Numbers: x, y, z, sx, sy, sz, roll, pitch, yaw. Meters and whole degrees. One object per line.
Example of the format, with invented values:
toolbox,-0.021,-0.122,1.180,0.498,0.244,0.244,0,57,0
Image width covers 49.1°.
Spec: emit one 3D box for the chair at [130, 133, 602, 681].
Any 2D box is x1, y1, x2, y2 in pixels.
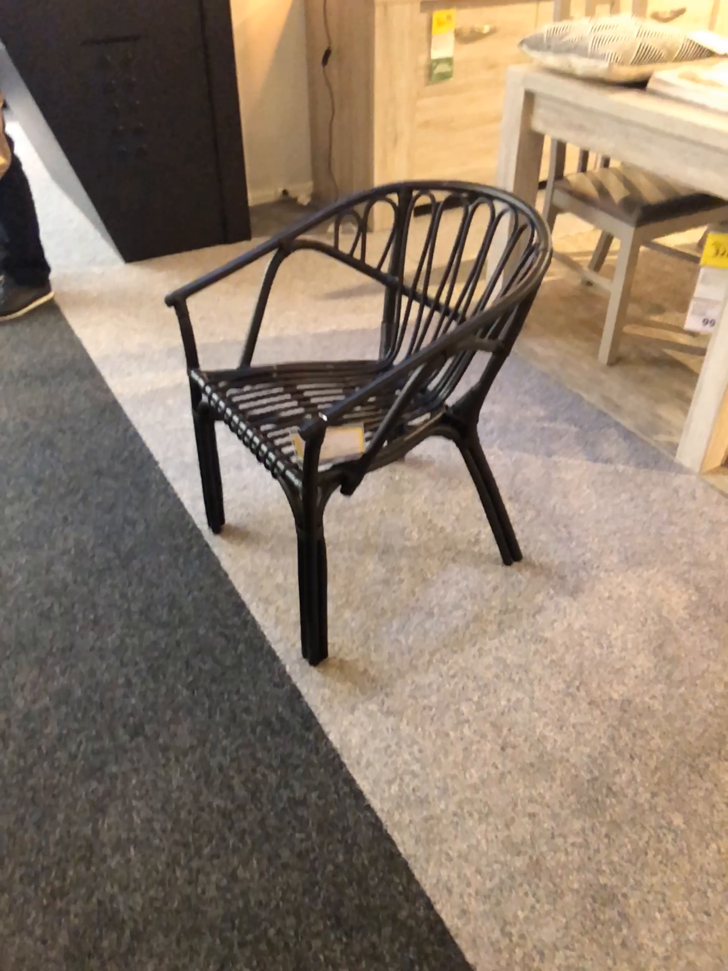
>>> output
chair,-0.022,-0.172,1.484,0.562,0.736,0.531,-18,41,-24
